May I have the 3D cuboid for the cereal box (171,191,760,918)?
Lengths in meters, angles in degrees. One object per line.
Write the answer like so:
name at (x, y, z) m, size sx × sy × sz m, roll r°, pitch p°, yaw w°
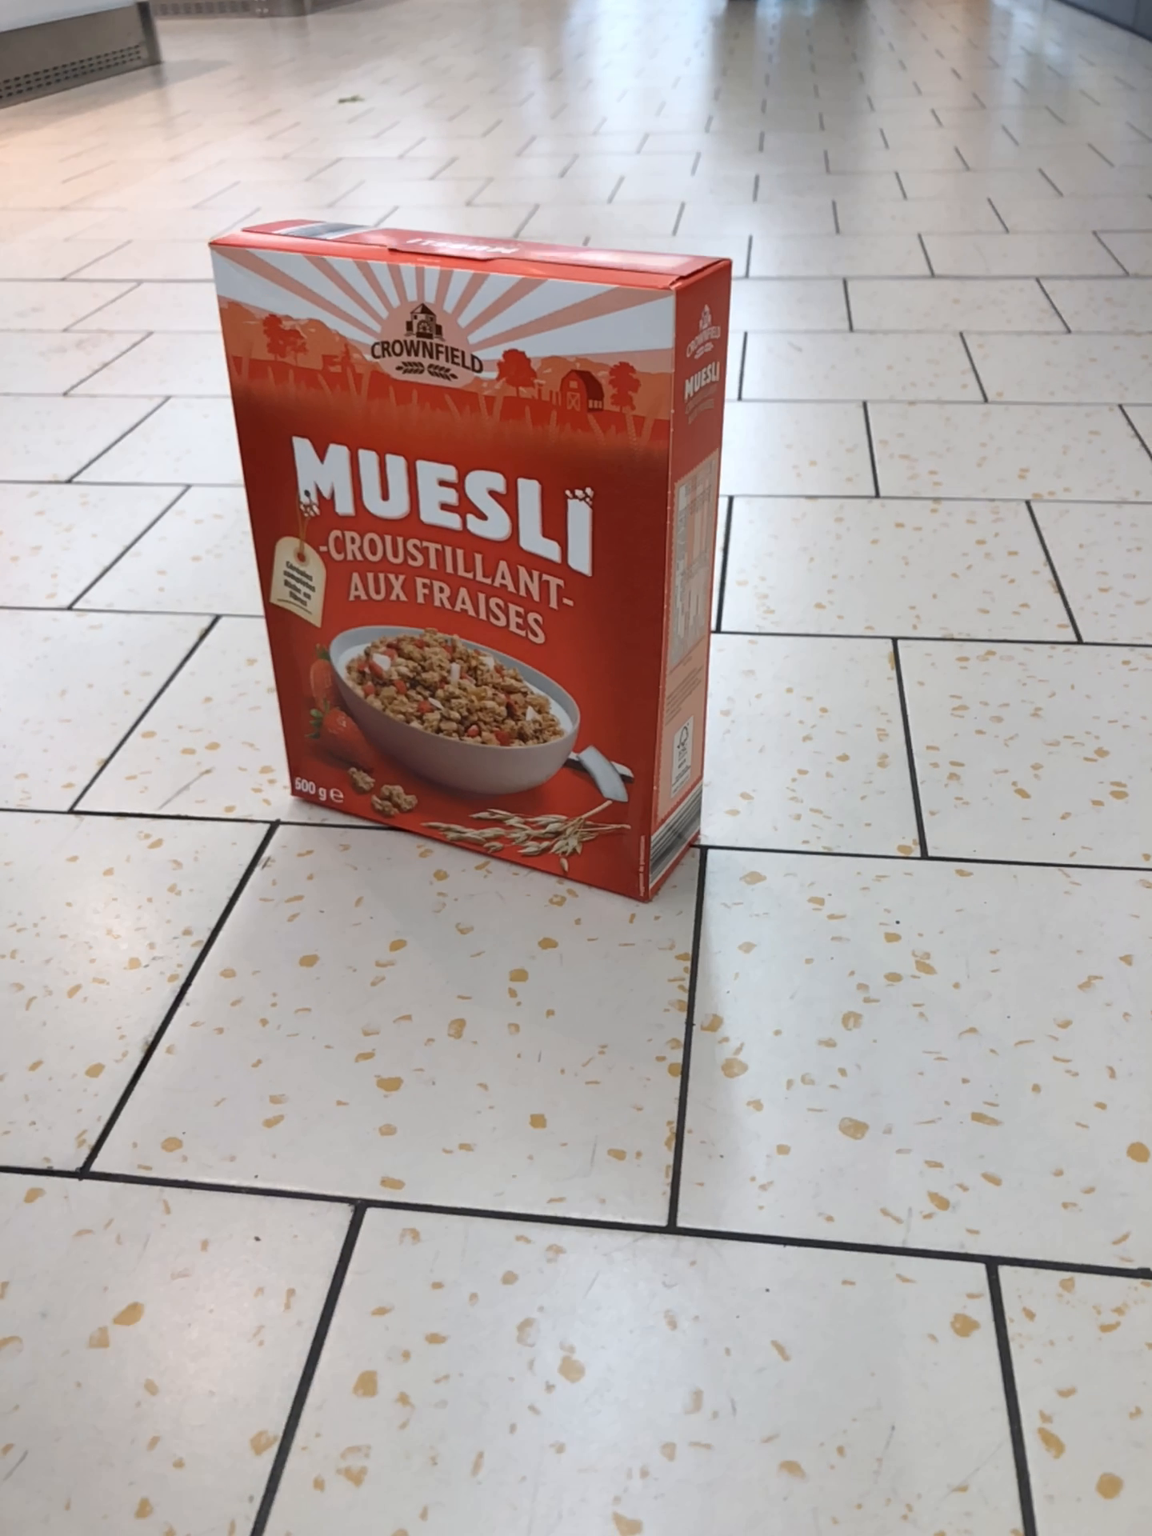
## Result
cereal box at (-0.040, -0.086, 0.511) m, size 0.200 × 0.249 × 0.070 m, roll 15°, pitch 36°, yaw 24°
